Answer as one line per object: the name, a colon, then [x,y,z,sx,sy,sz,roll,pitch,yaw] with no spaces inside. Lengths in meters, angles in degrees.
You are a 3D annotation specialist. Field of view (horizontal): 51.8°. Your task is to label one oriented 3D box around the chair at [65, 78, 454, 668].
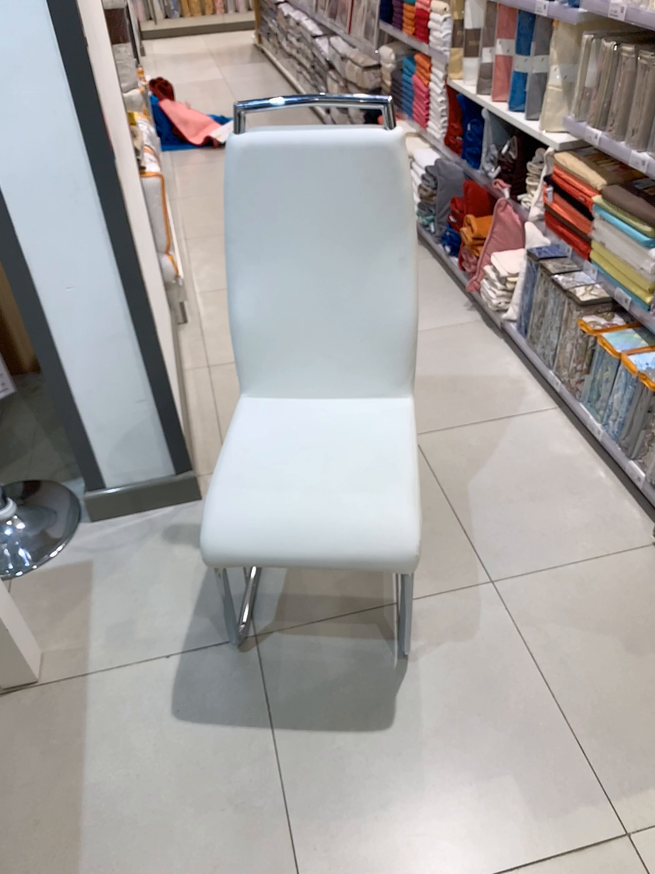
chair: [-0.040,-0.077,1.342,0.480,1.026,0.522,1,39,6]
